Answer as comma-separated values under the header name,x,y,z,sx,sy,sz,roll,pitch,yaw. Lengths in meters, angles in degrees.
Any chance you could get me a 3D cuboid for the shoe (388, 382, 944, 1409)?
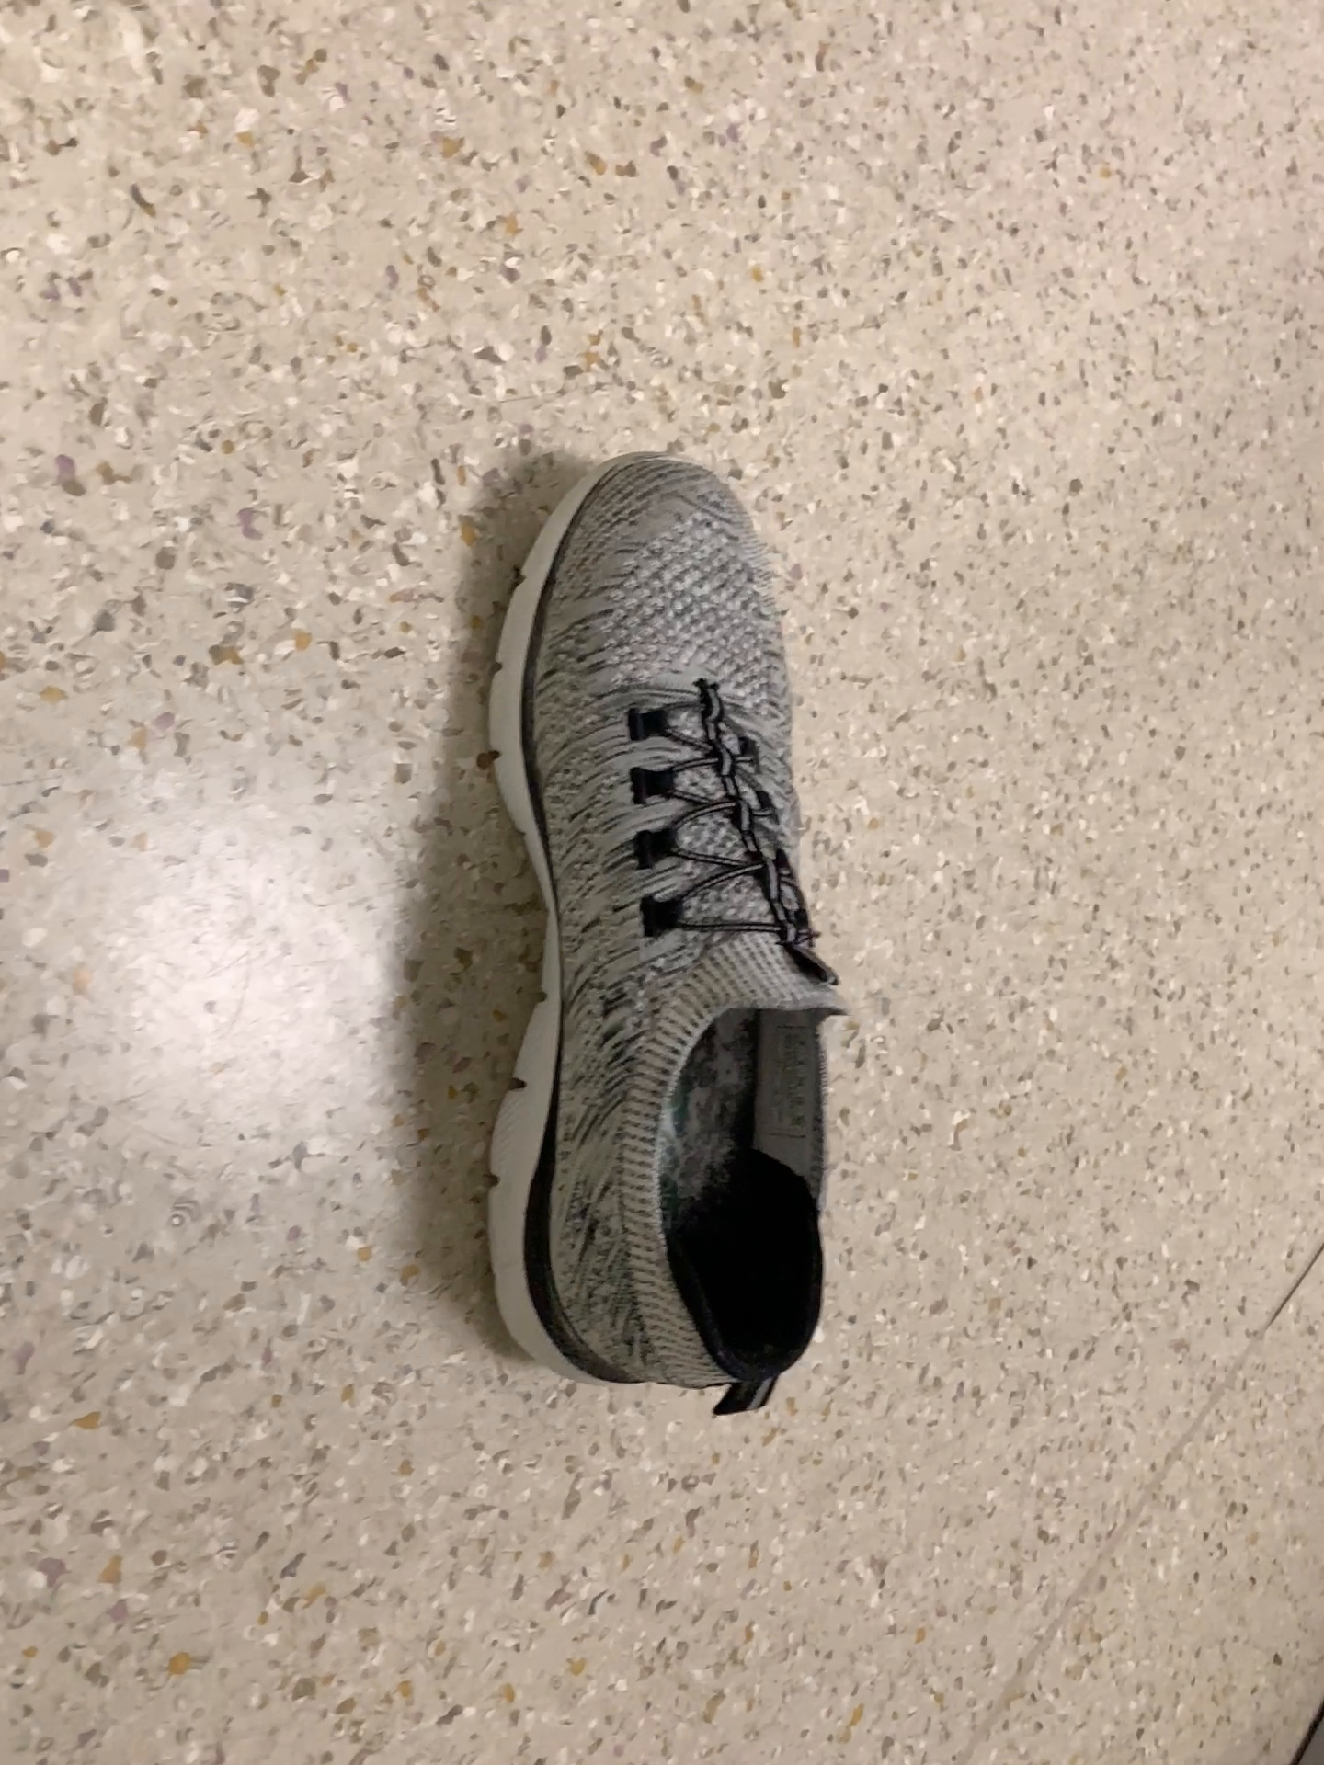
name,x,y,z,sx,sy,sz,roll,pitch,yaw
shoe,0.001,0.005,0.382,0.094,0.093,0.241,9,85,-38
